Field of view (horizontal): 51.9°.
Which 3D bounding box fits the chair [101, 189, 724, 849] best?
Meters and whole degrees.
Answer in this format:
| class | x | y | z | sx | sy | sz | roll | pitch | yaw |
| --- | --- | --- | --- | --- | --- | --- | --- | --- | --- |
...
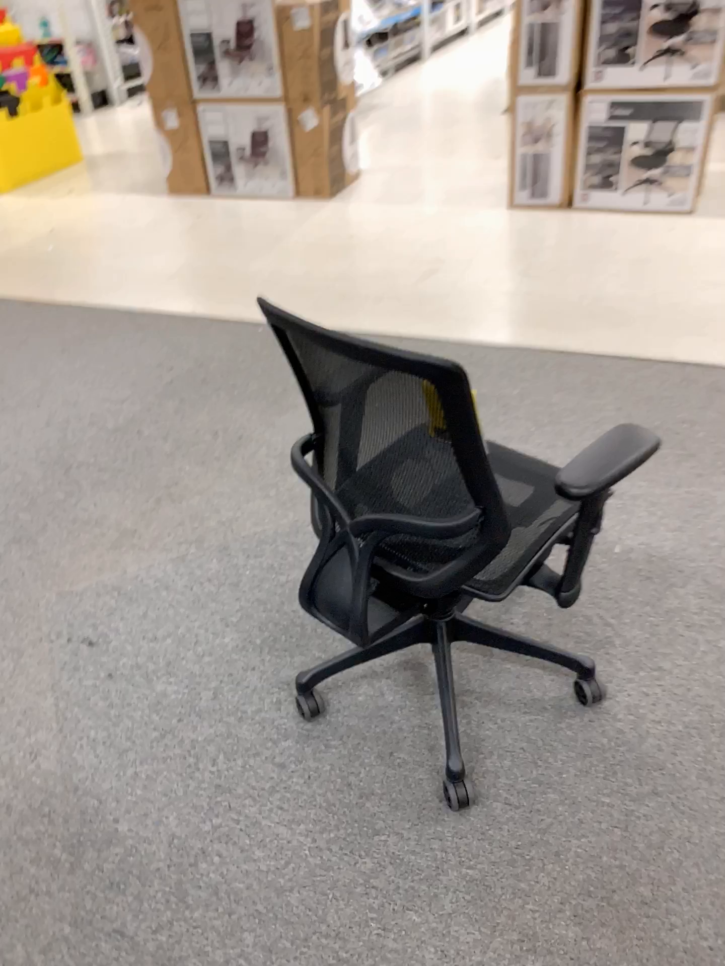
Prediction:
| class | x | y | z | sx | sy | sz | roll | pitch | yaw |
| --- | --- | --- | --- | --- | --- | --- | --- | --- | --- |
| chair | 0.151 | -0.014 | 1.449 | 0.761 | 0.806 | 0.763 | 19 | 43 | 29 |
